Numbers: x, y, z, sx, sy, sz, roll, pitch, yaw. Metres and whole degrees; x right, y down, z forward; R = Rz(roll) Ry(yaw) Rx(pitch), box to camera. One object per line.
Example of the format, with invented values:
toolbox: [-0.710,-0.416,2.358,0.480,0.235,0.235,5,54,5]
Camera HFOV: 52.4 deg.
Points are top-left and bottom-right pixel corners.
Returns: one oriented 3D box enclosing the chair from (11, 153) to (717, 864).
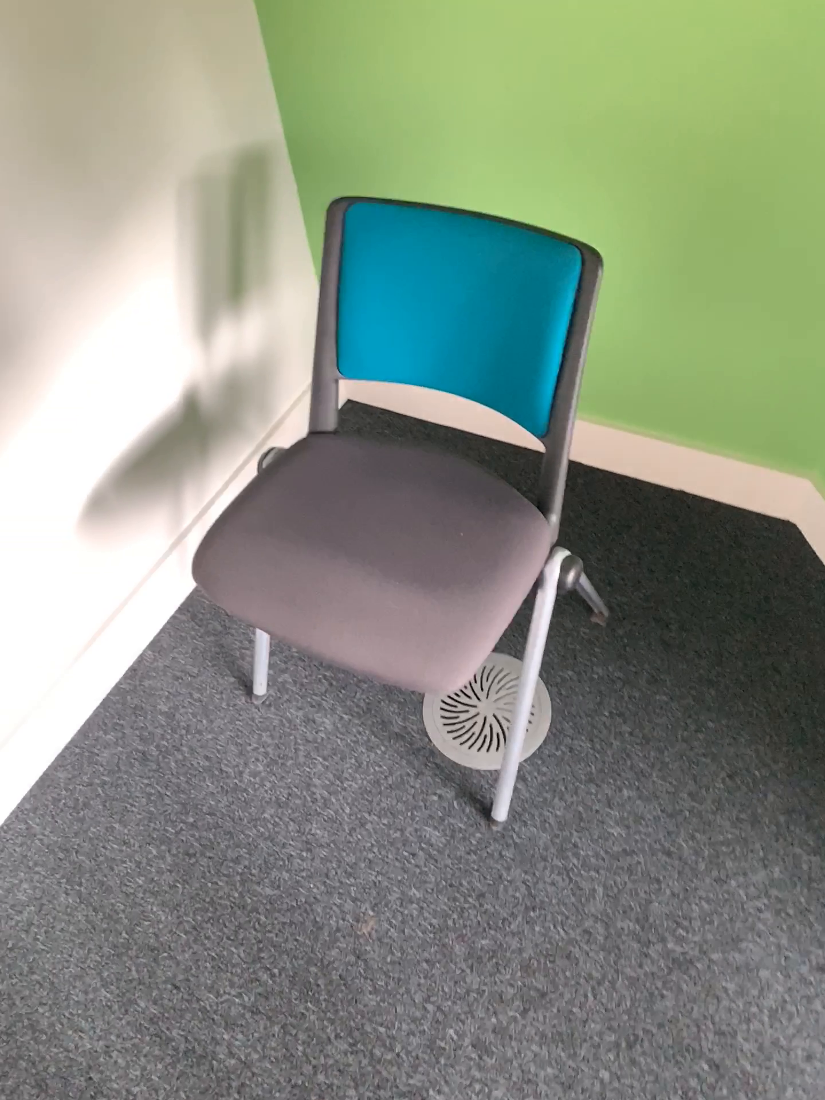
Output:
chair: [-0.003,-0.057,1.173,0.581,0.664,0.553,20,56,22]
